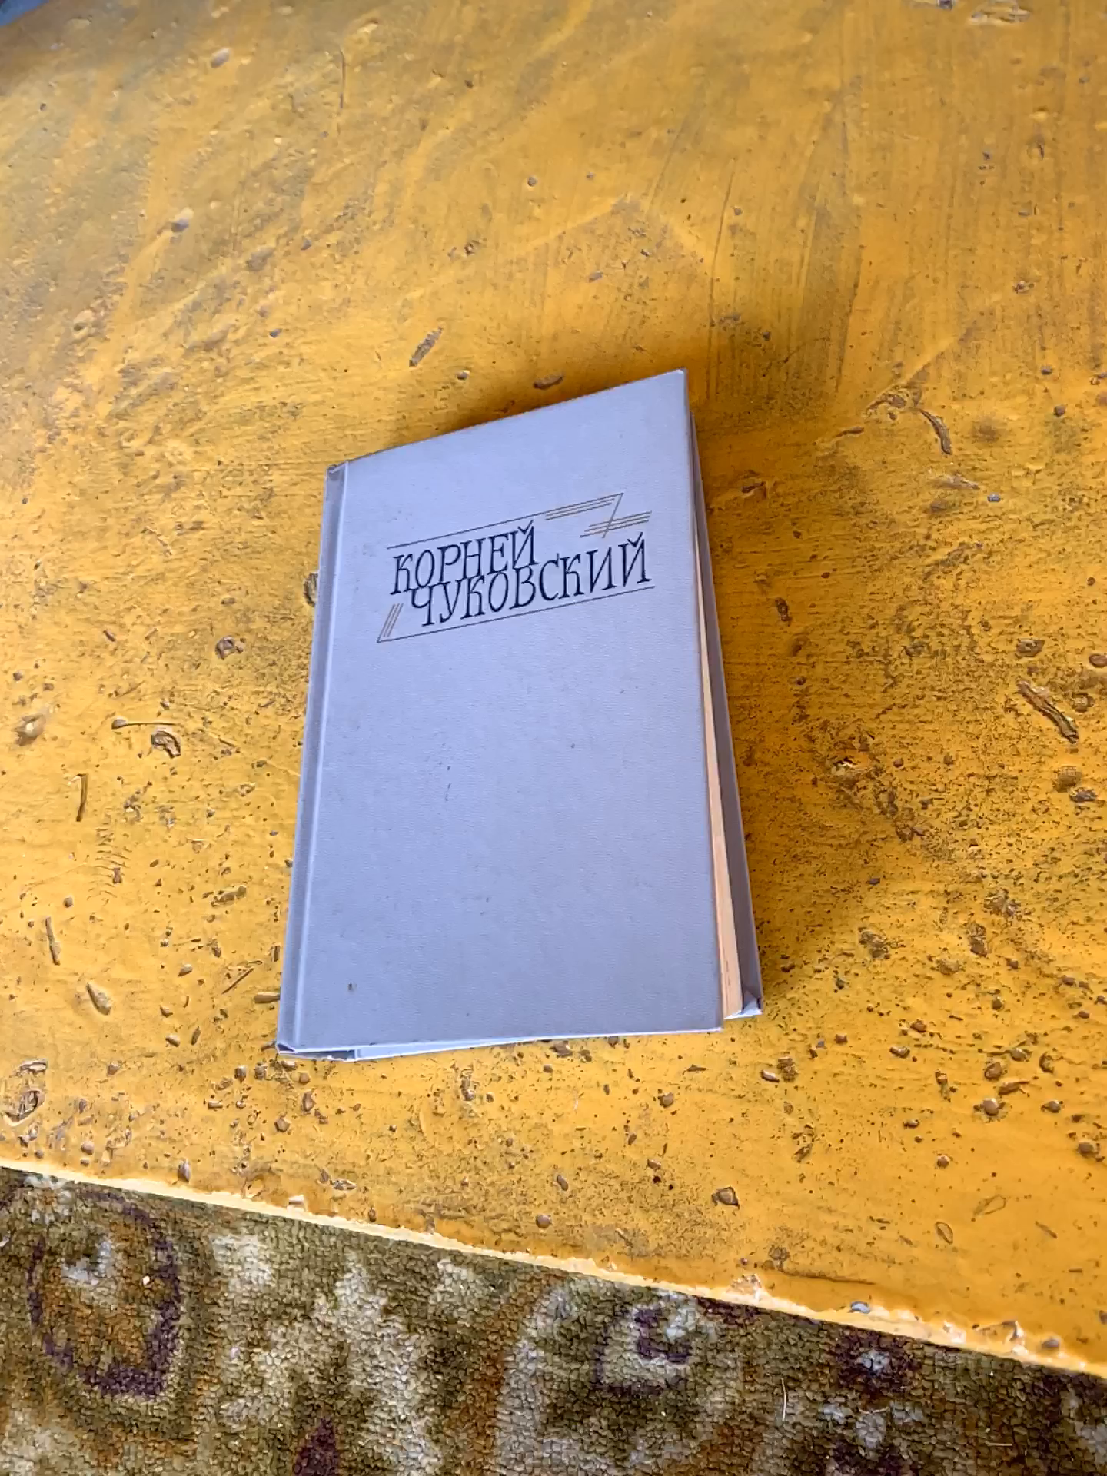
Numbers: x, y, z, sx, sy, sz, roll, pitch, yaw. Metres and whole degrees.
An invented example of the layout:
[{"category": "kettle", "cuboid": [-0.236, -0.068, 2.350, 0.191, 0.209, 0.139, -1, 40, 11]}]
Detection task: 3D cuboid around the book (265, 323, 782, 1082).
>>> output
[{"category": "book", "cuboid": [-0.011, -0.012, 0.347, 0.139, 0.031, 0.216, -10, 65, 22]}]
